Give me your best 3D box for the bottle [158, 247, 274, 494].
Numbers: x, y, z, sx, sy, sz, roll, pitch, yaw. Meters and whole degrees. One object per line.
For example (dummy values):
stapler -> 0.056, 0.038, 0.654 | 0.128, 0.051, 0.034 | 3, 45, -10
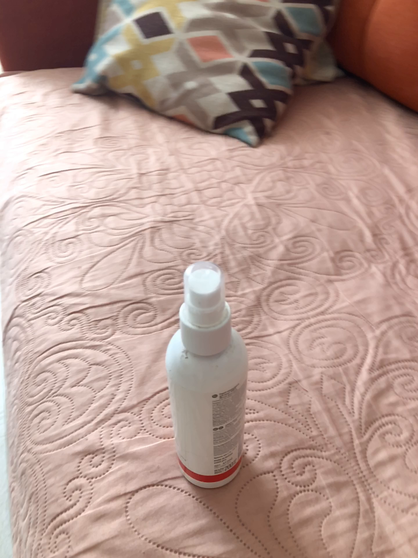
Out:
bottle -> 0.005, 0.064, 0.272 | 0.050, 0.169, 0.050 | -1, 41, 1
